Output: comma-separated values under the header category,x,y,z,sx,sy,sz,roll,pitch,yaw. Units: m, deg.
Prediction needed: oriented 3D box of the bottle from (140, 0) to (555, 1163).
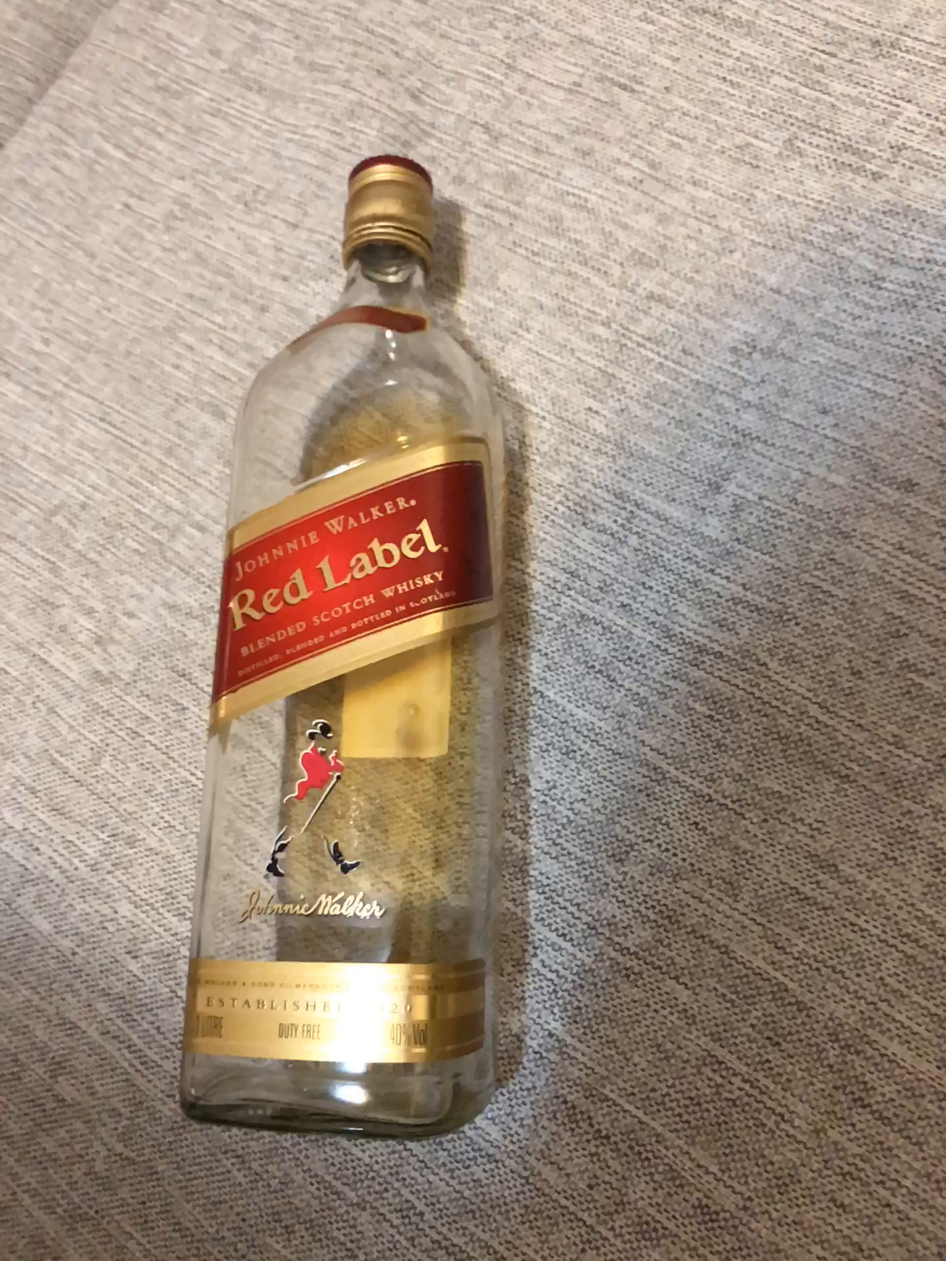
category,x,y,z,sx,sy,sz,roll,pitch,yaw
bottle,-0.026,-0.024,0.312,0.090,0.070,0.310,-2,77,12
